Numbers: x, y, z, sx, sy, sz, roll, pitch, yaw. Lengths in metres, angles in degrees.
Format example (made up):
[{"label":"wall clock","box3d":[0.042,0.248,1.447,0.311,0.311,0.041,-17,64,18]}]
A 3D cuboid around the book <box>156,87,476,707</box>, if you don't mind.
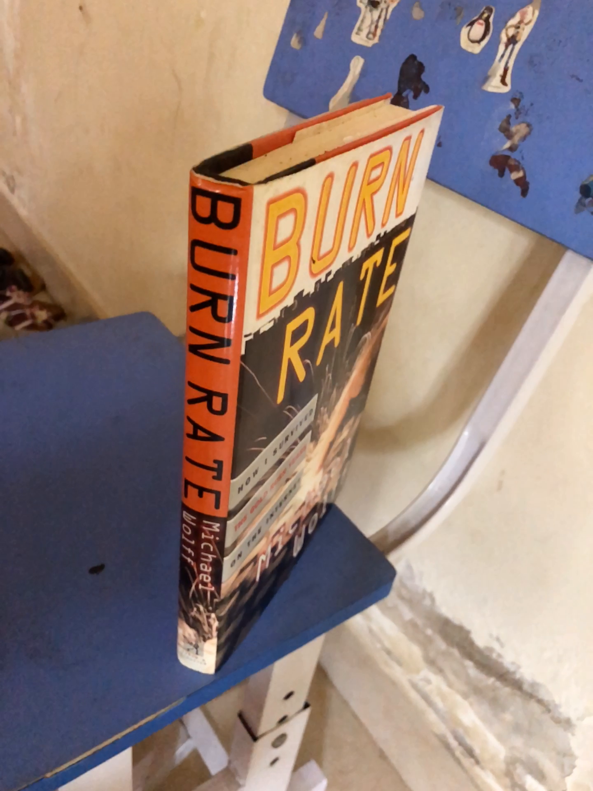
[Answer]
[{"label":"book","box3d":[0.011,-0.007,0.324,0.040,0.239,0.201,22,36,17]}]
